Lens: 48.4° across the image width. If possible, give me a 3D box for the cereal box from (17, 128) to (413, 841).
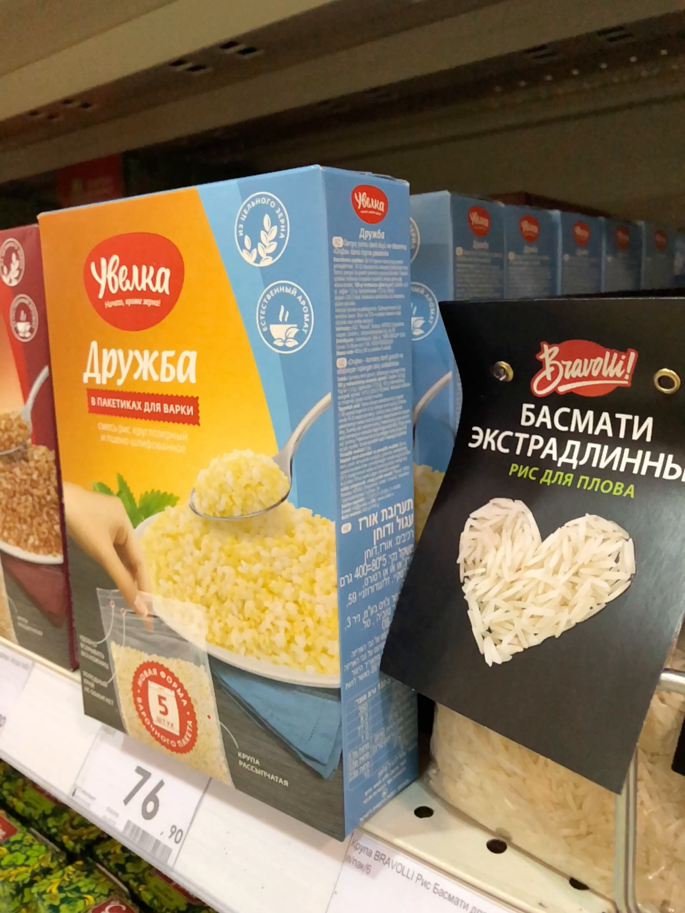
[{"bbox_3d":[-0.044,0.005,0.252,0.130,0.189,0.040,6,13,36],"label":"cereal box"}]
